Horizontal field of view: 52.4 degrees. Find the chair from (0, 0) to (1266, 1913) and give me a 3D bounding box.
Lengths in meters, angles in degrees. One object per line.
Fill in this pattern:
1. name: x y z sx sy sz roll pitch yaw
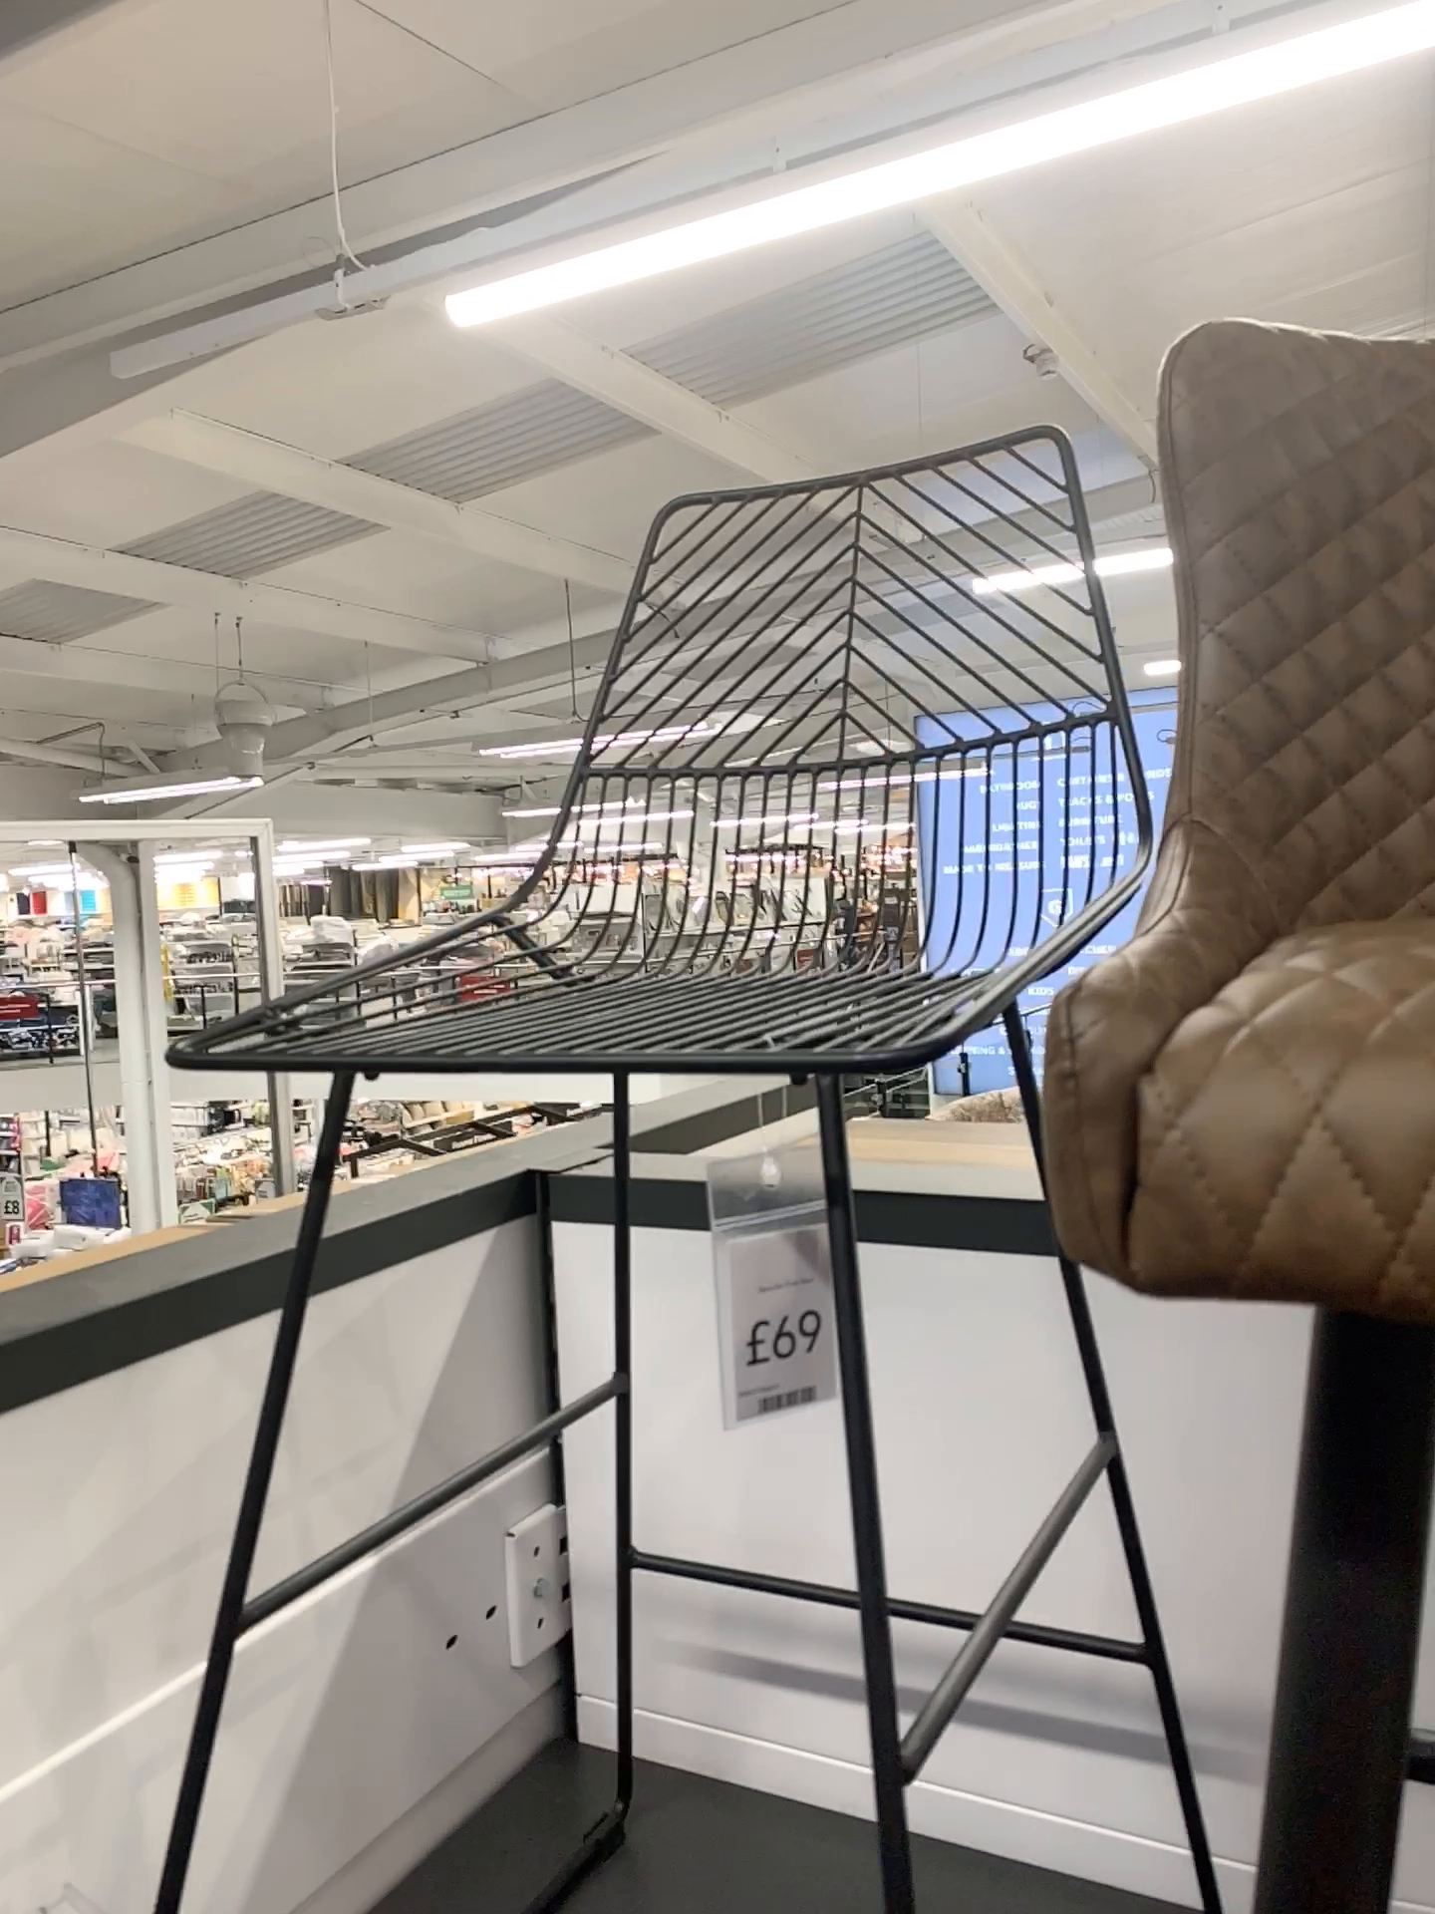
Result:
1. chair: -0.022 0.153 0.803 0.505 0.963 0.530 -2 1 28
